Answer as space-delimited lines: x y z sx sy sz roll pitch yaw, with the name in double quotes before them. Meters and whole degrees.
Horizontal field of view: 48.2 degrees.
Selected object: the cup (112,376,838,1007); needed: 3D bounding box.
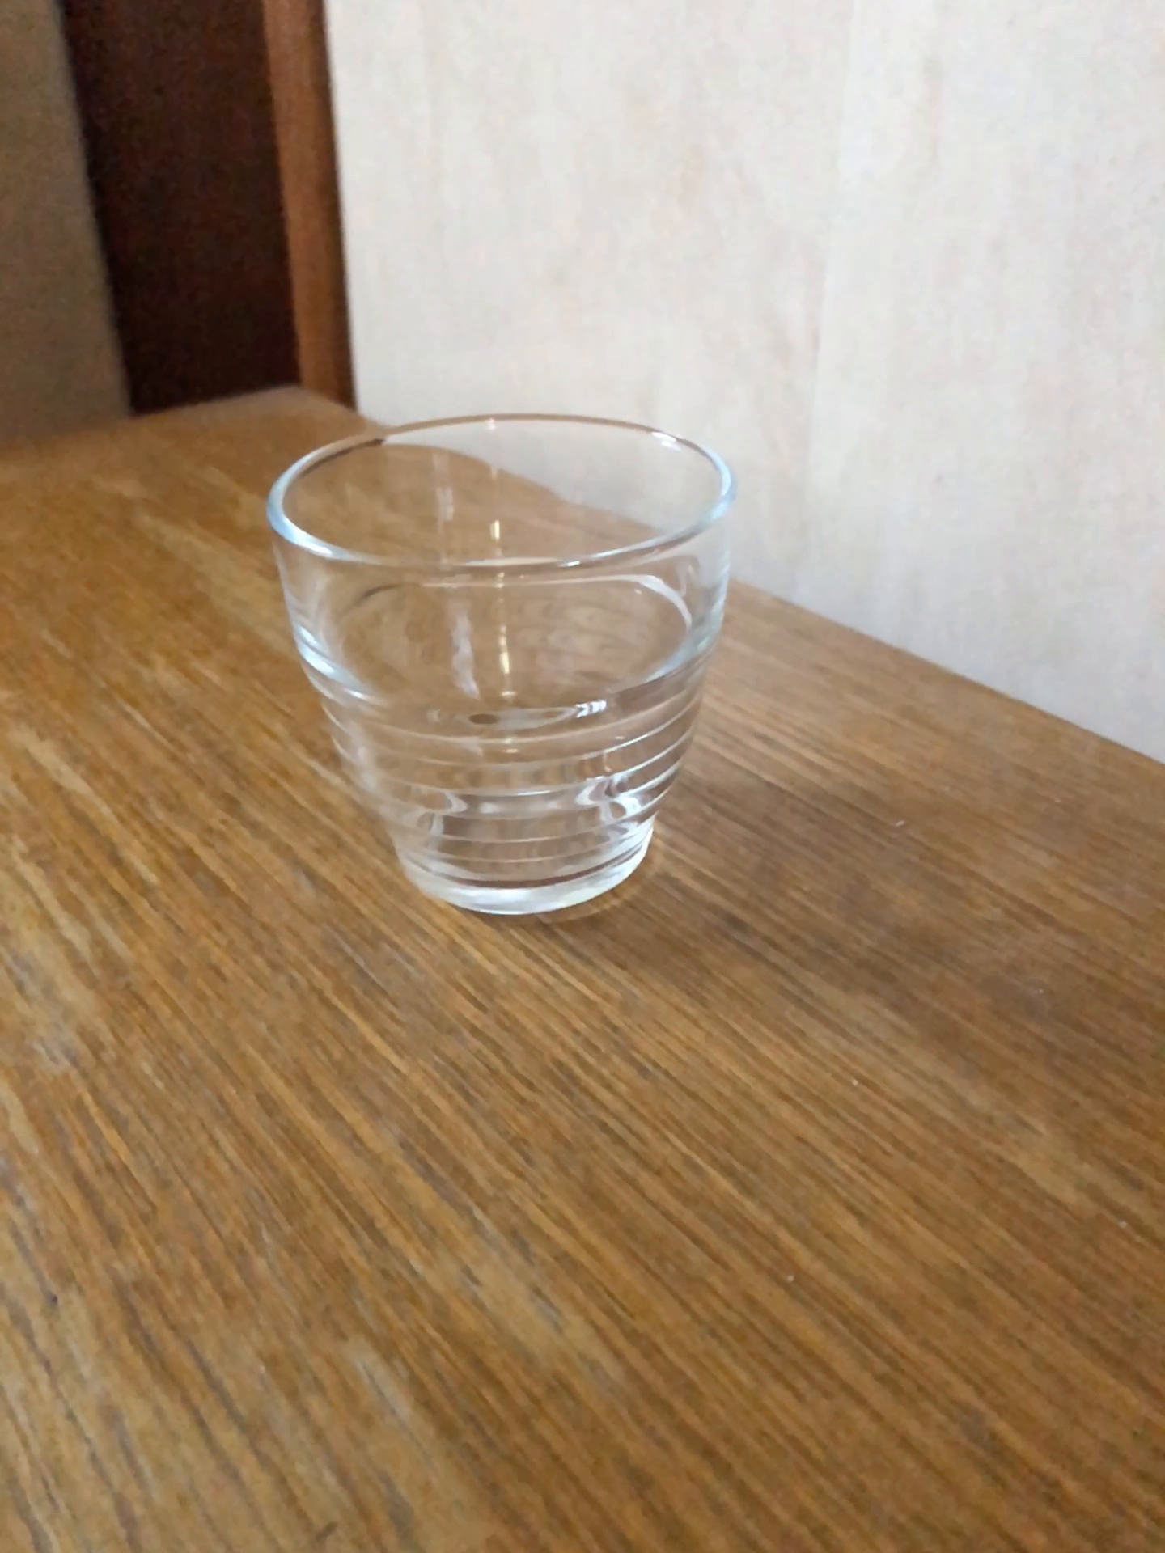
"cup" -0.013 -0.022 0.215 0.080 0.060 0.081 0 31 0
